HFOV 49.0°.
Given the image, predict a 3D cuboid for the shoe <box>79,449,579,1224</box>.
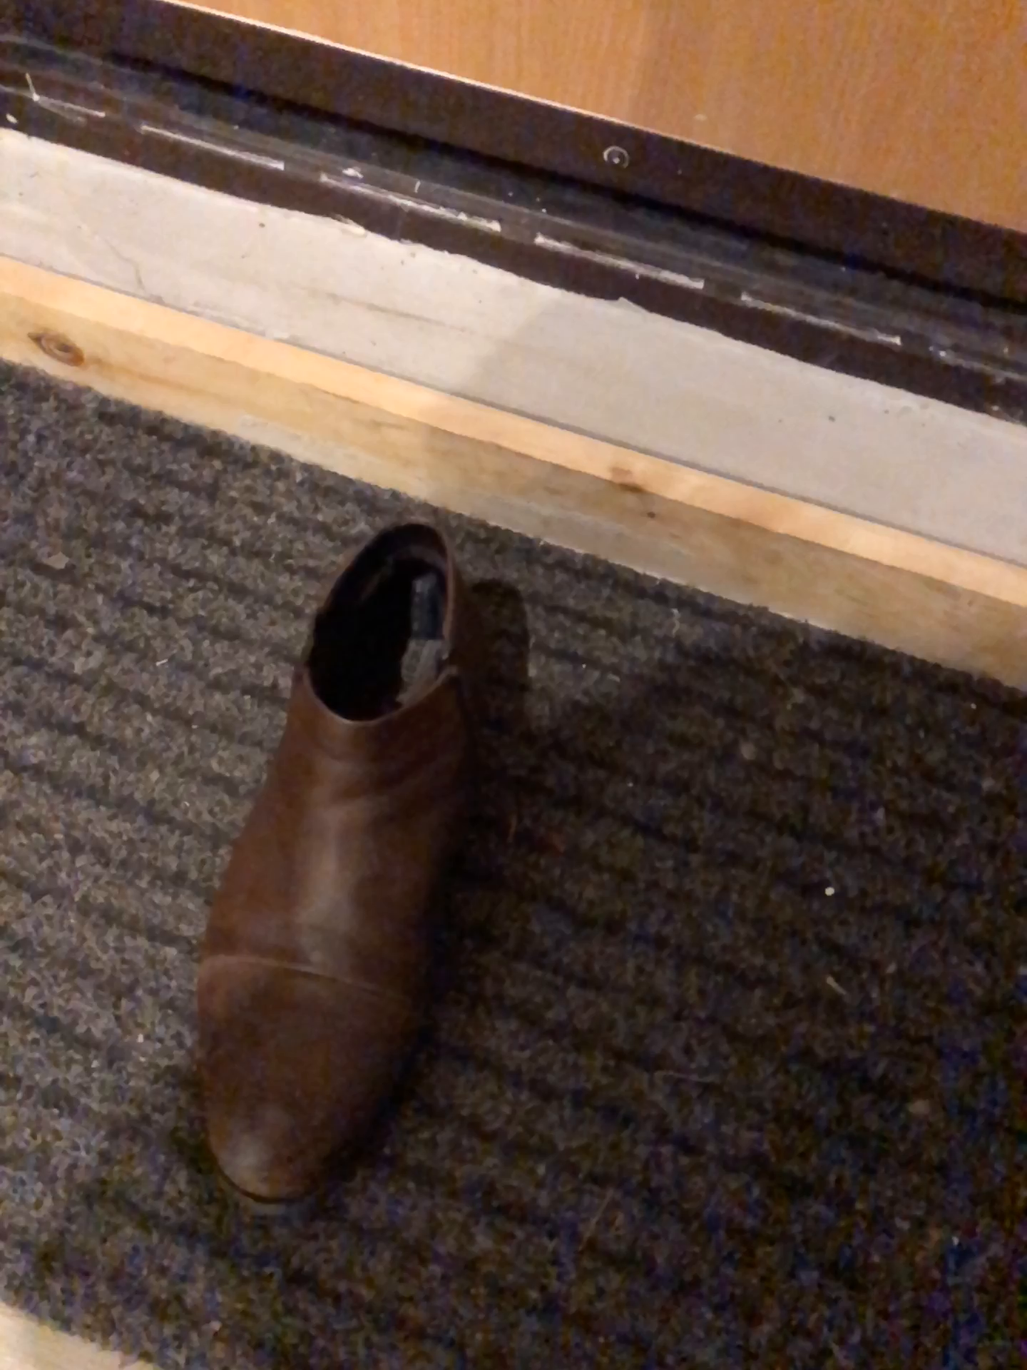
[{"bbox_3d":[-0.061,0.062,0.504,0.110,0.129,0.301,13,62,5],"label":"shoe"}]
